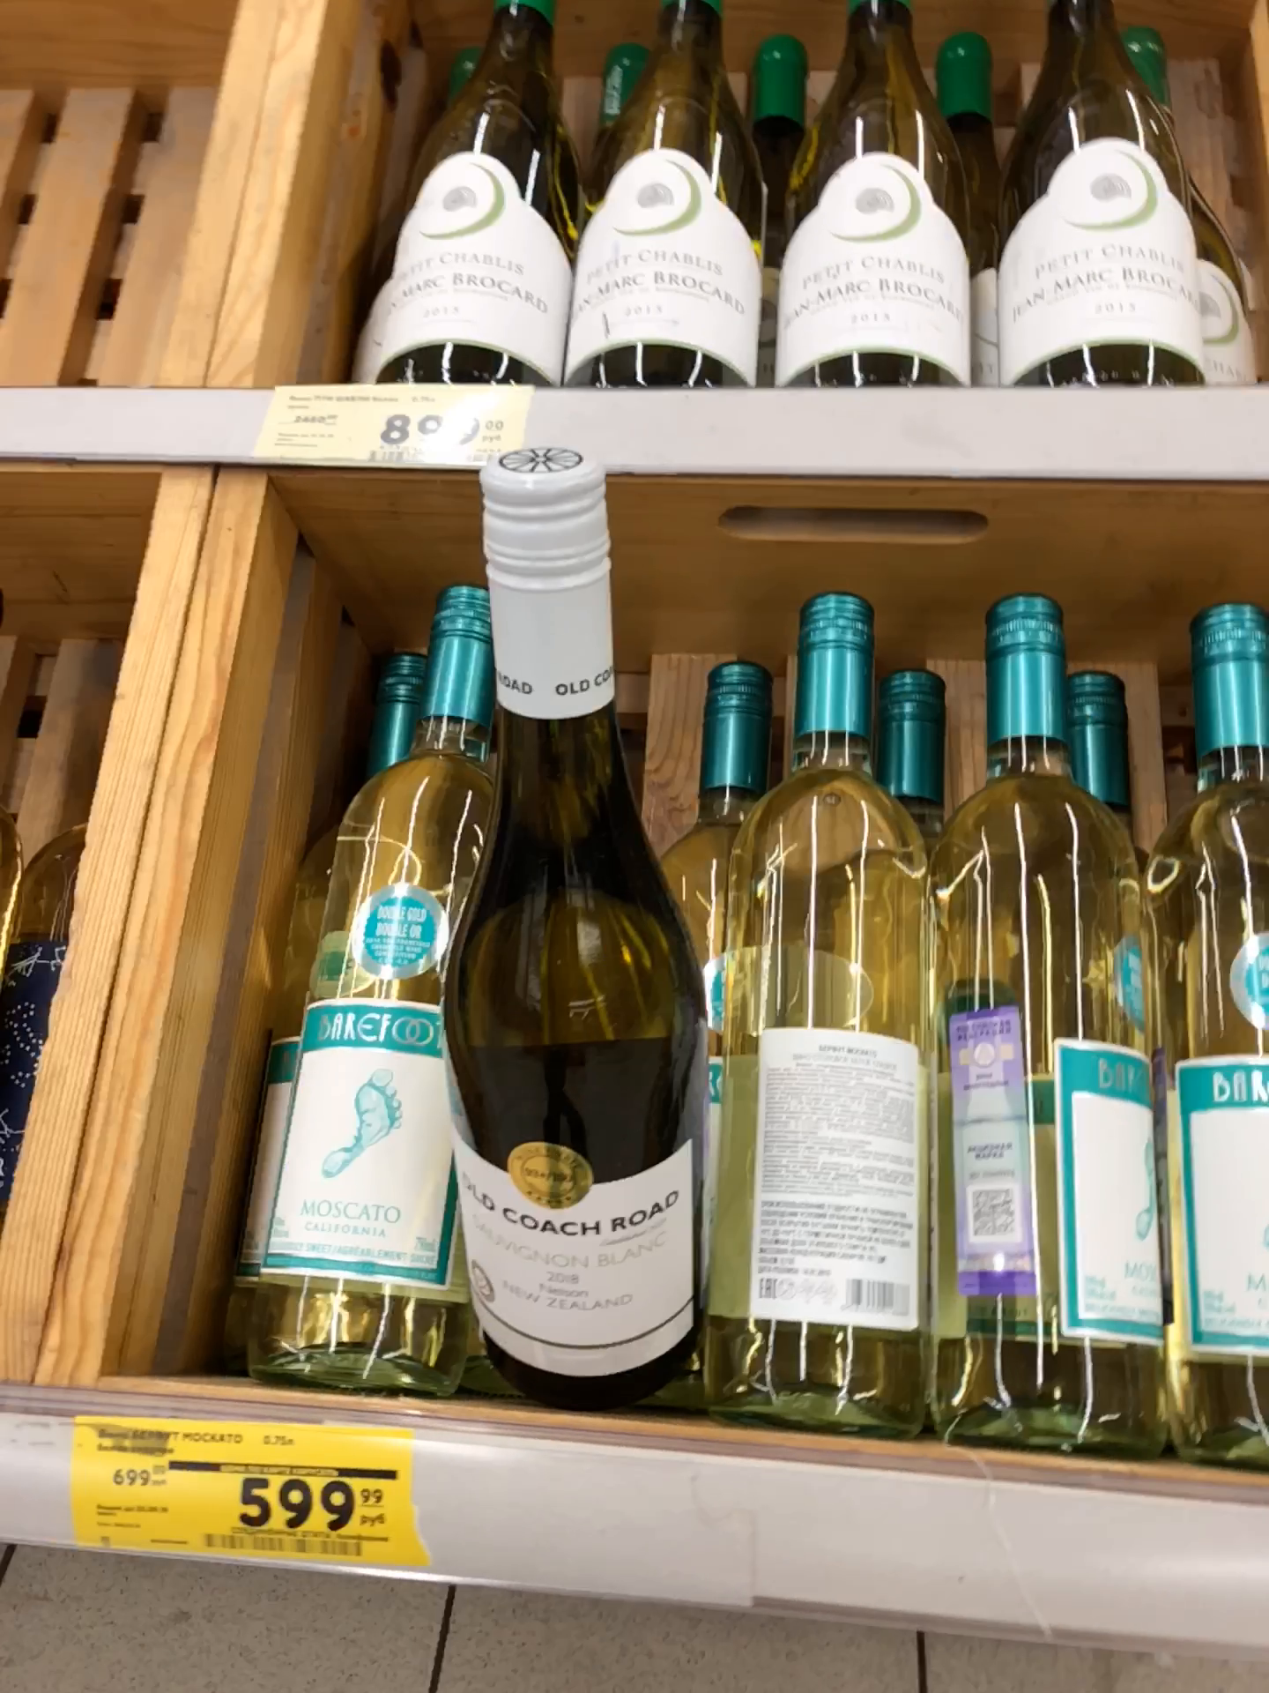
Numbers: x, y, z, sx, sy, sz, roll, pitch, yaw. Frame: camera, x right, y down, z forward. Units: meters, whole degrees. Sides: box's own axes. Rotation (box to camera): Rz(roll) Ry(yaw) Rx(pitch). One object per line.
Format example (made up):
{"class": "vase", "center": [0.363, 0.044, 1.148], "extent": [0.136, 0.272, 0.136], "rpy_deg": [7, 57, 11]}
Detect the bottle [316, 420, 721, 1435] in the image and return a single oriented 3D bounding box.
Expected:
{"class": "bottle", "center": [-0.018, 0.038, 0.399], "extent": [0.077, 0.291, 0.088], "rpy_deg": [2, 34, 6]}
